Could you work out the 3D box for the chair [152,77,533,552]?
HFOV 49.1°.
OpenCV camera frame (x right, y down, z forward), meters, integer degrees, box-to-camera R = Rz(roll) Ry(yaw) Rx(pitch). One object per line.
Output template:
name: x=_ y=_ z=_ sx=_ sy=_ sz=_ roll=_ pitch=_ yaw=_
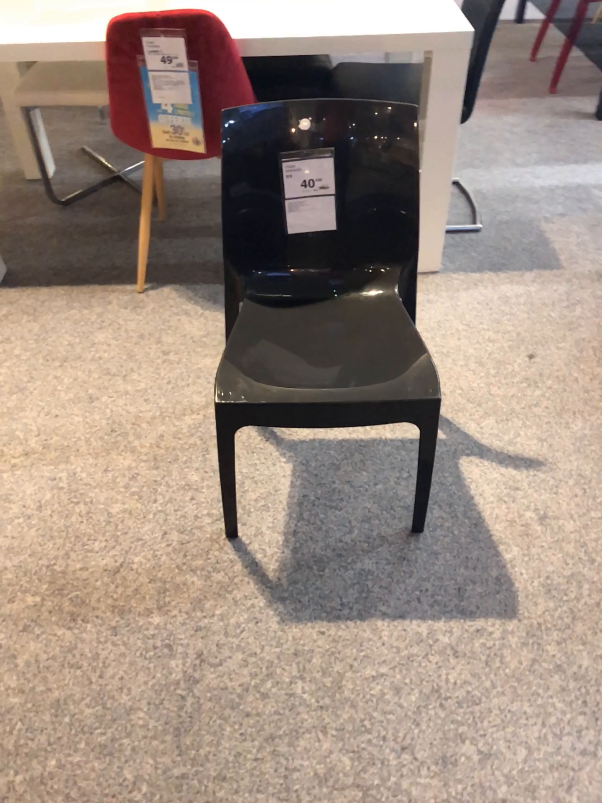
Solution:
chair: x=0.048 y=-0.161 z=1.367 sx=0.520 sy=0.766 sz=0.573 roll=-3 pitch=44 yaw=-2
